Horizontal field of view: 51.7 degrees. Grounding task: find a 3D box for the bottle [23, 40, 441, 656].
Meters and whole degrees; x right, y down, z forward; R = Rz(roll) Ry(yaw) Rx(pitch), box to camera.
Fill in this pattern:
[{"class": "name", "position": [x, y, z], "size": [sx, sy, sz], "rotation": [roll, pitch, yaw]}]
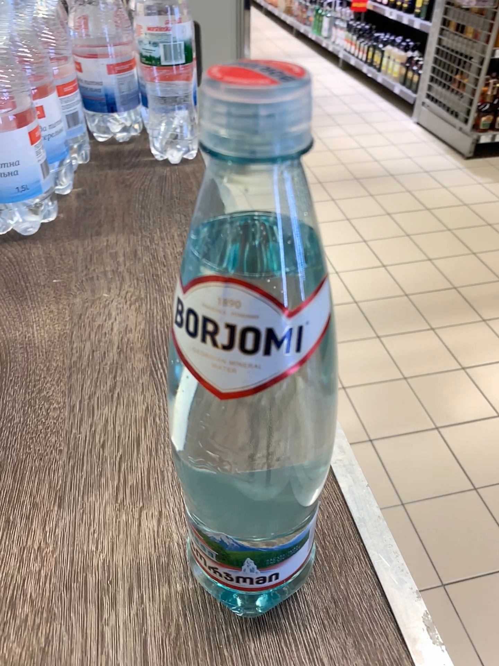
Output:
[{"class": "bottle", "position": [-0.001, 0.029, 0.204], "size": [0.080, 0.239, 0.070], "rotation": [18, 43, 20]}]
